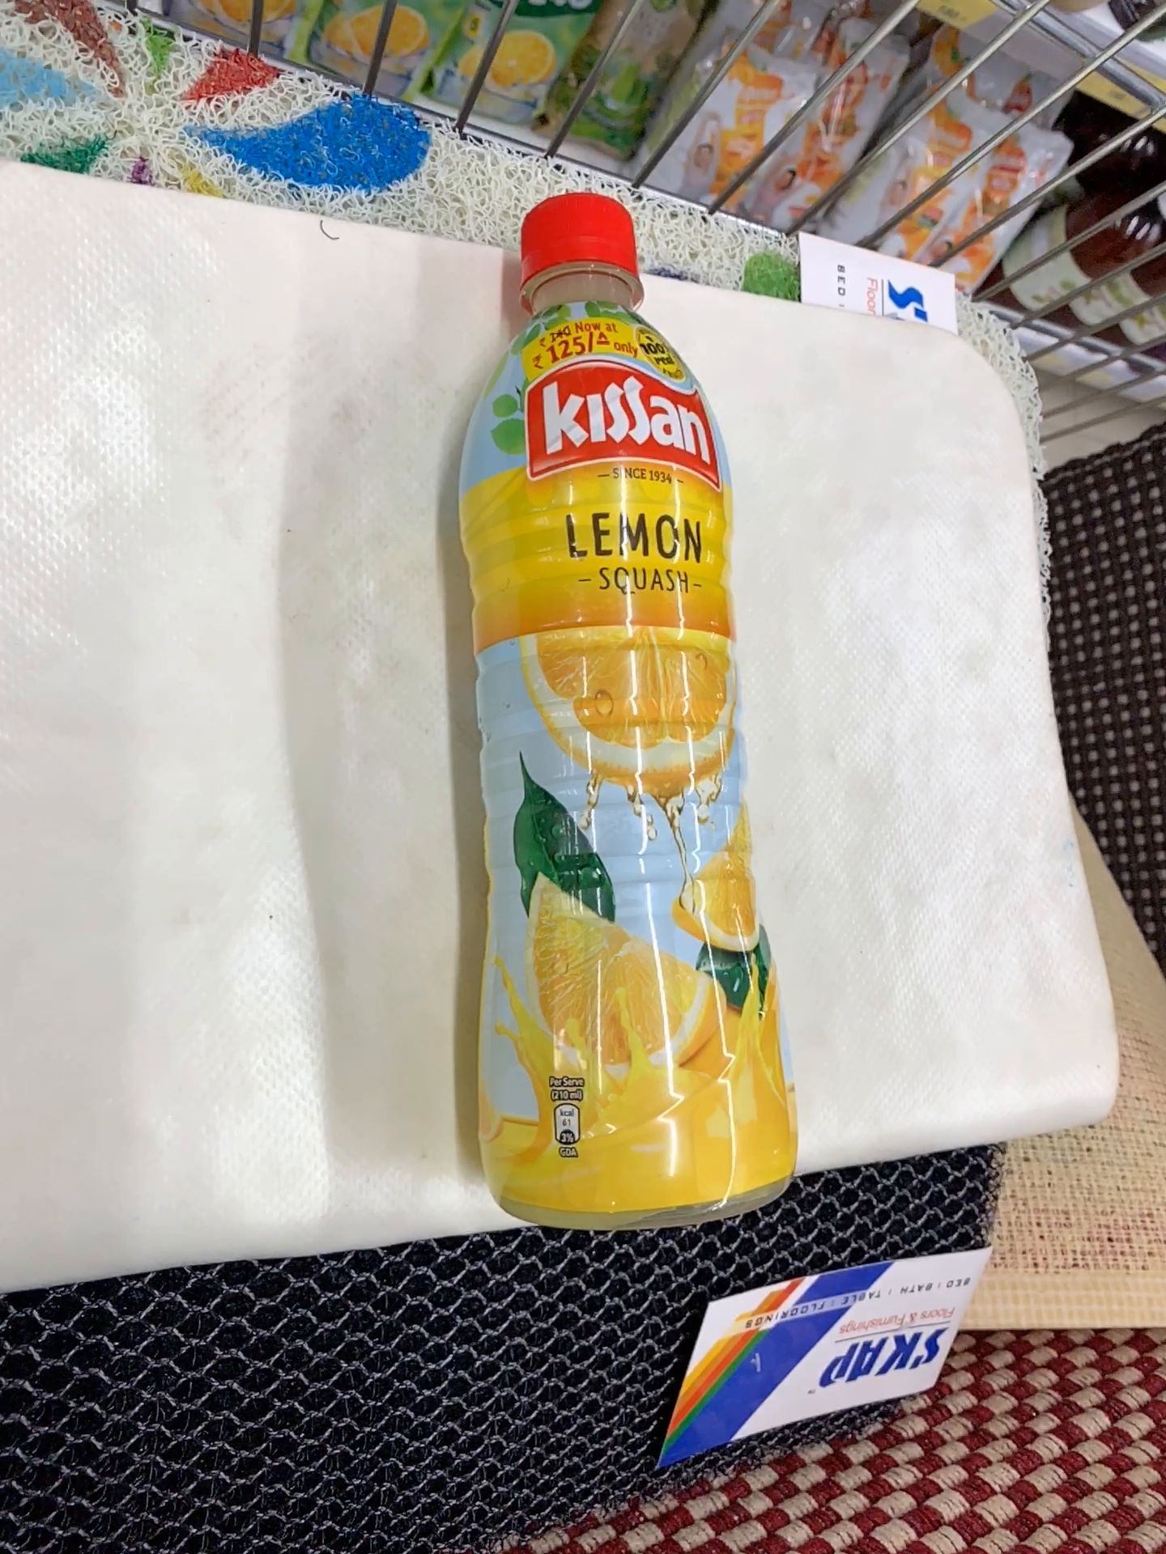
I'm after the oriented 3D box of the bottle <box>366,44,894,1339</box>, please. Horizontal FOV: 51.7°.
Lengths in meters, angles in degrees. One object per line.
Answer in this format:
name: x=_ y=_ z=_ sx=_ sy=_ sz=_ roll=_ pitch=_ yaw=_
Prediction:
bottle: x=0.007 y=-0.016 z=0.263 sx=0.080 sy=0.070 sz=0.230 roll=0 pitch=86 yaw=-32
